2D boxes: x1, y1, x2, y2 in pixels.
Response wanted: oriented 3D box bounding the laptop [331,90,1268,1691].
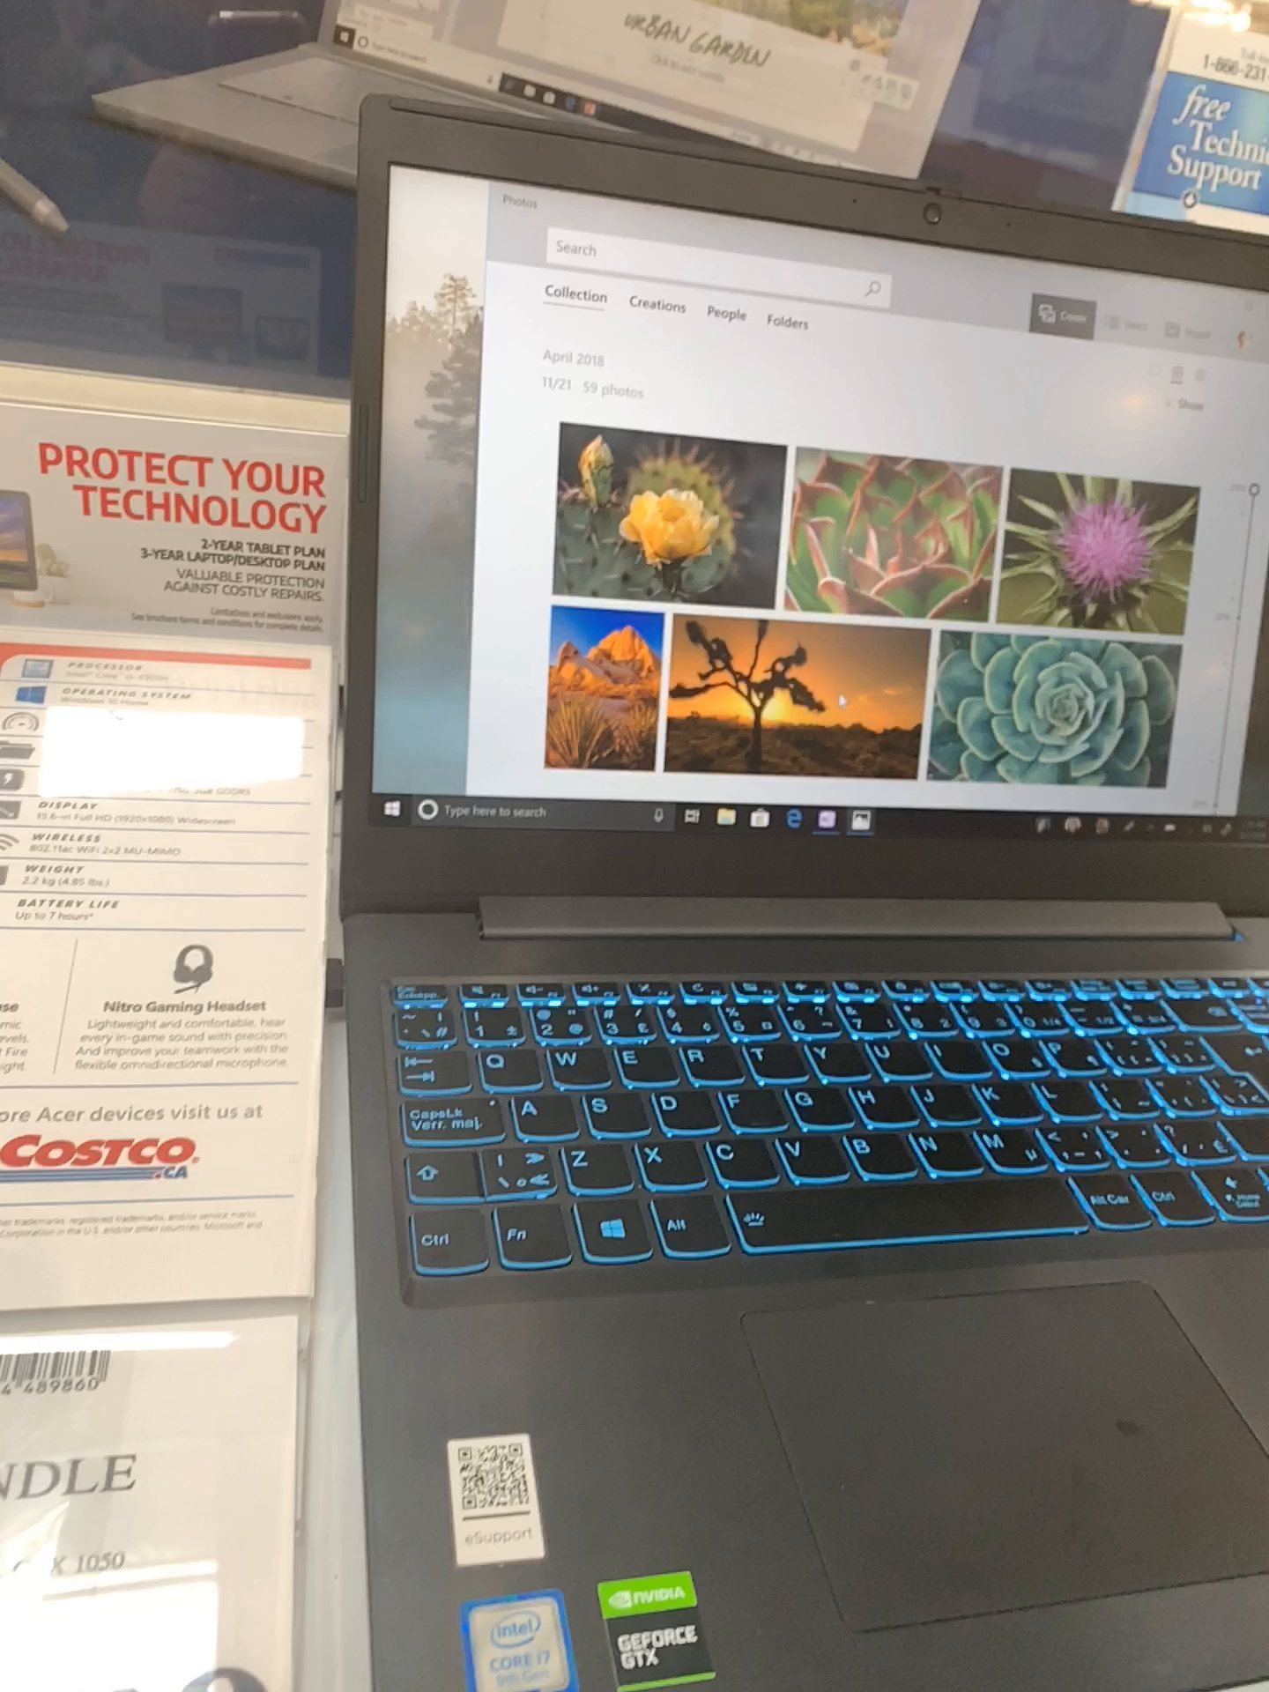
[{"bbox_3d":[0.108,-0.030,0.329,0.340,0.214,0.330,2,30,-16],"label":"laptop"}]
